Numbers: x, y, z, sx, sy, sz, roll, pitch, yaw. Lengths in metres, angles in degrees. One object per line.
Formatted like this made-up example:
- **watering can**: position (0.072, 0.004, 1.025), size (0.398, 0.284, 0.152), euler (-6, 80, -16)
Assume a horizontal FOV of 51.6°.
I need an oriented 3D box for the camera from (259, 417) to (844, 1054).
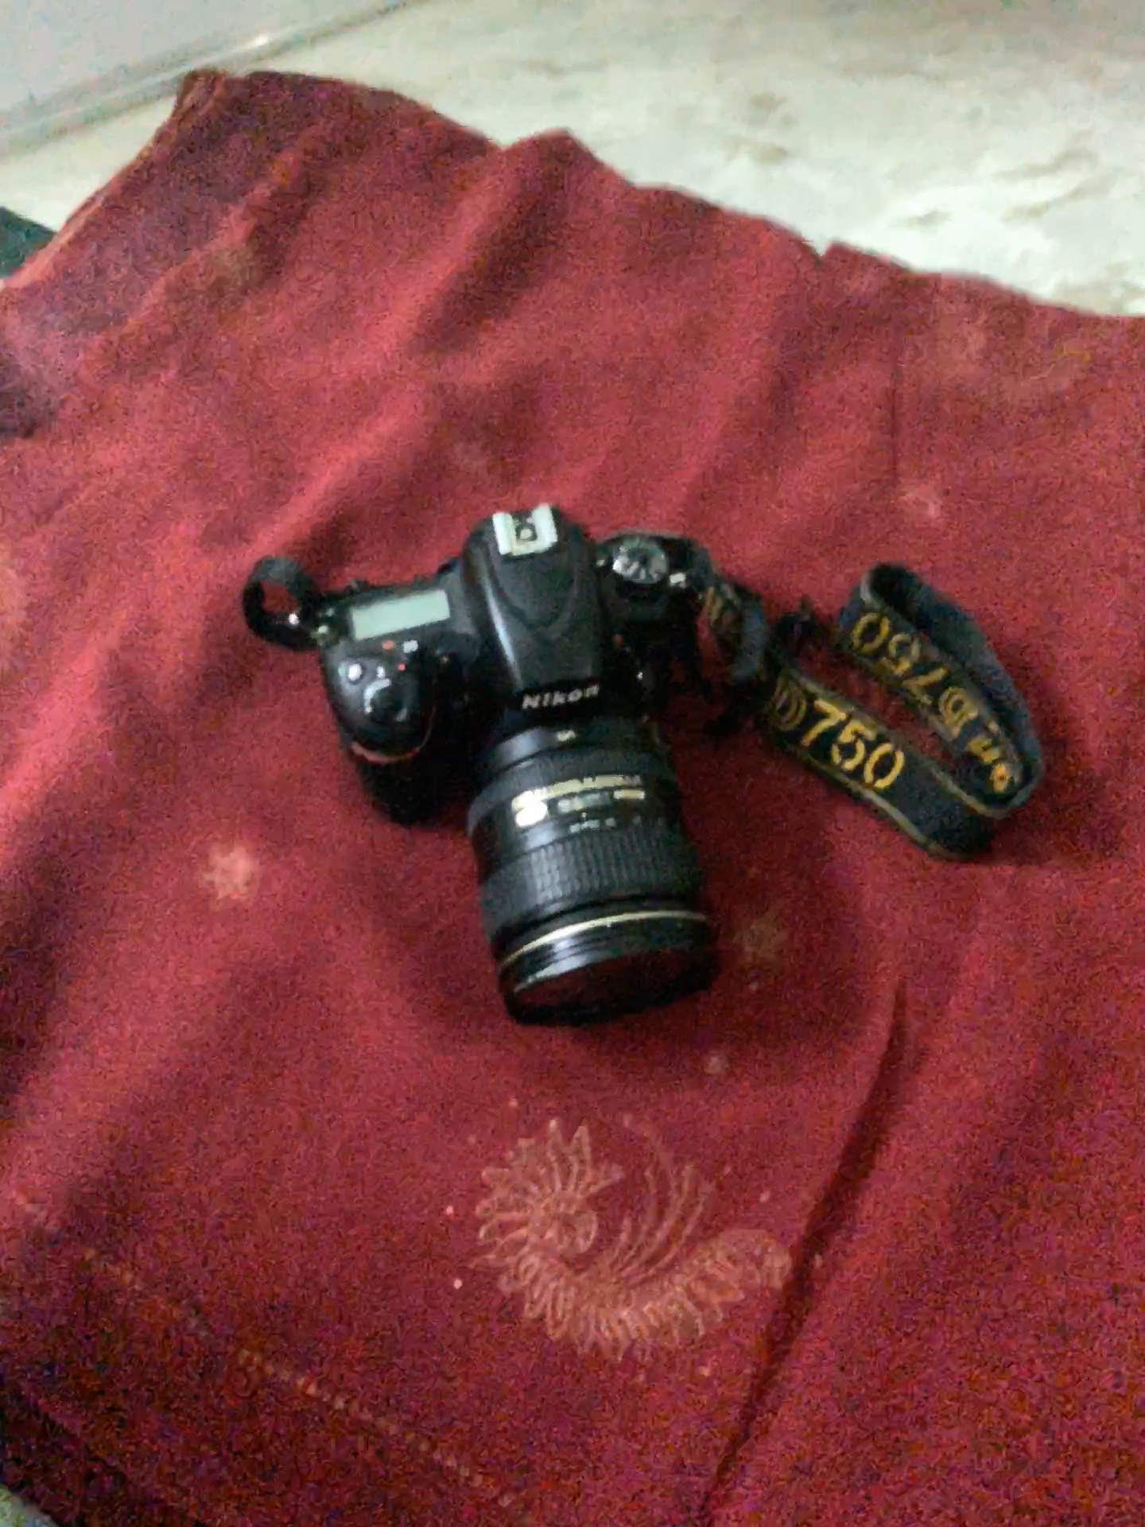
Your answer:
- **camera**: position (-0.012, -0.007, 0.407), size (0.150, 0.110, 0.160), euler (-11, 62, -3)
